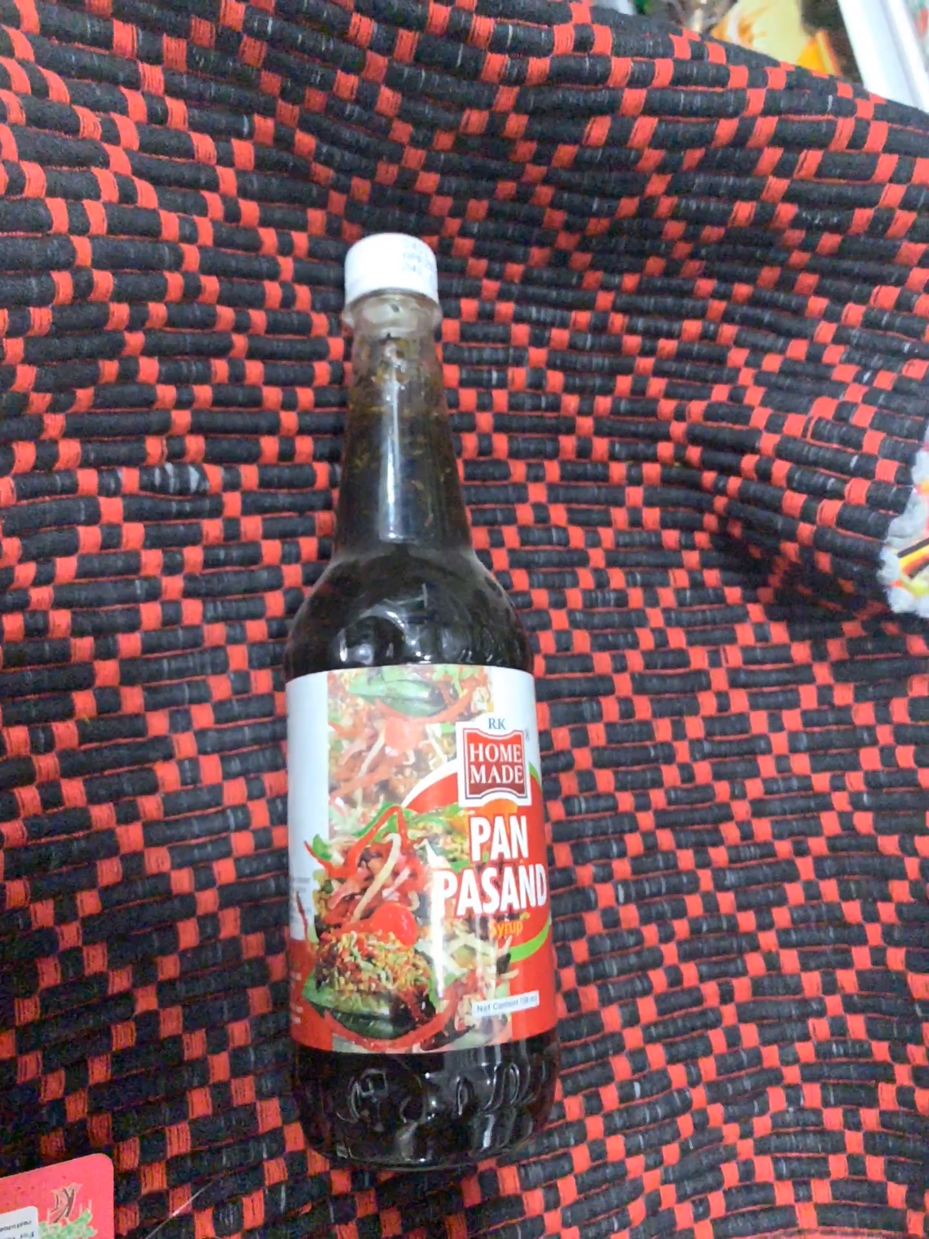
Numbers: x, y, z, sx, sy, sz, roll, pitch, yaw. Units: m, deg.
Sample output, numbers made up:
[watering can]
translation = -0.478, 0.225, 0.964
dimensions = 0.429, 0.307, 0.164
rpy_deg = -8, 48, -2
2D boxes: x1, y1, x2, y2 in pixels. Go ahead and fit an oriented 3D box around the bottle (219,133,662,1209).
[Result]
[bottle]
translation = -0.022, 0.003, 0.293
dimensions = 0.090, 0.080, 0.280
rpy_deg = 2, 70, -22
